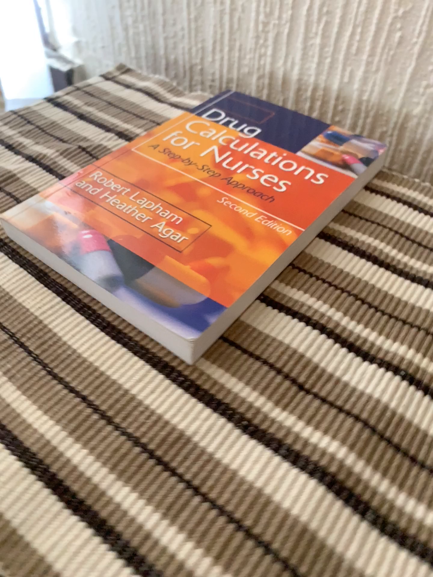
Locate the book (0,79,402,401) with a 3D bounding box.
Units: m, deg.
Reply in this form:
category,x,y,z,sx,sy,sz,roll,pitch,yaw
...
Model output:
category,x,y,z,sx,sy,sz,roll,pitch,yaw
book,-0.003,-0.058,0.264,0.141,0.020,0.221,30,53,23
